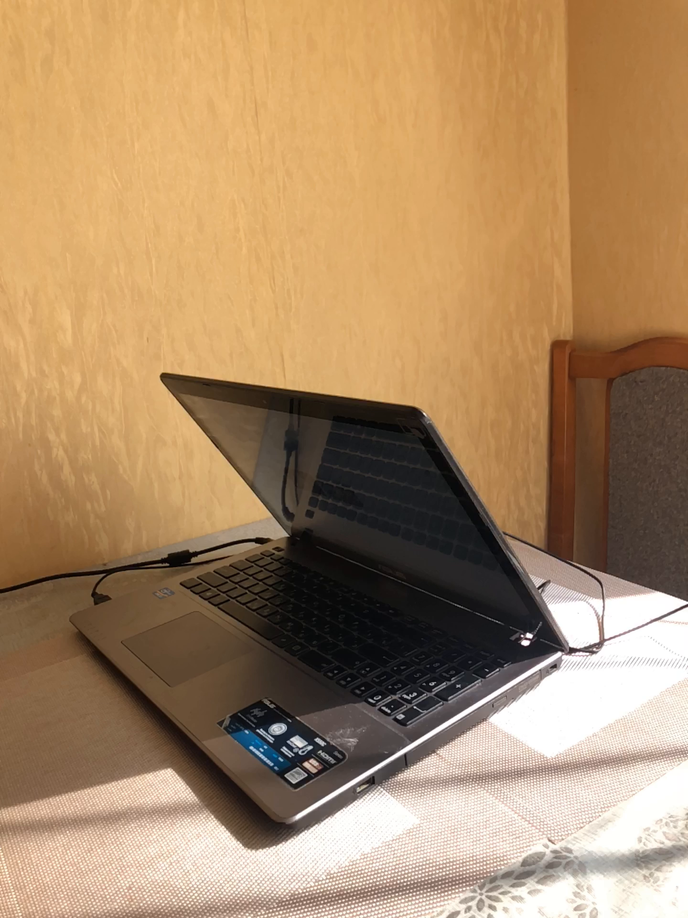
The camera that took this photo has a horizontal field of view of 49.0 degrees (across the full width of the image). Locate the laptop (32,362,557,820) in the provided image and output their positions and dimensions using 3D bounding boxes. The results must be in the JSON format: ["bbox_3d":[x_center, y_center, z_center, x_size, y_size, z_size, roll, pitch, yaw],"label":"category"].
[{"bbox_3d":[-0.059,0.048,0.609,0.242,0.196,0.370,-16,17,-34],"label":"laptop"}]
